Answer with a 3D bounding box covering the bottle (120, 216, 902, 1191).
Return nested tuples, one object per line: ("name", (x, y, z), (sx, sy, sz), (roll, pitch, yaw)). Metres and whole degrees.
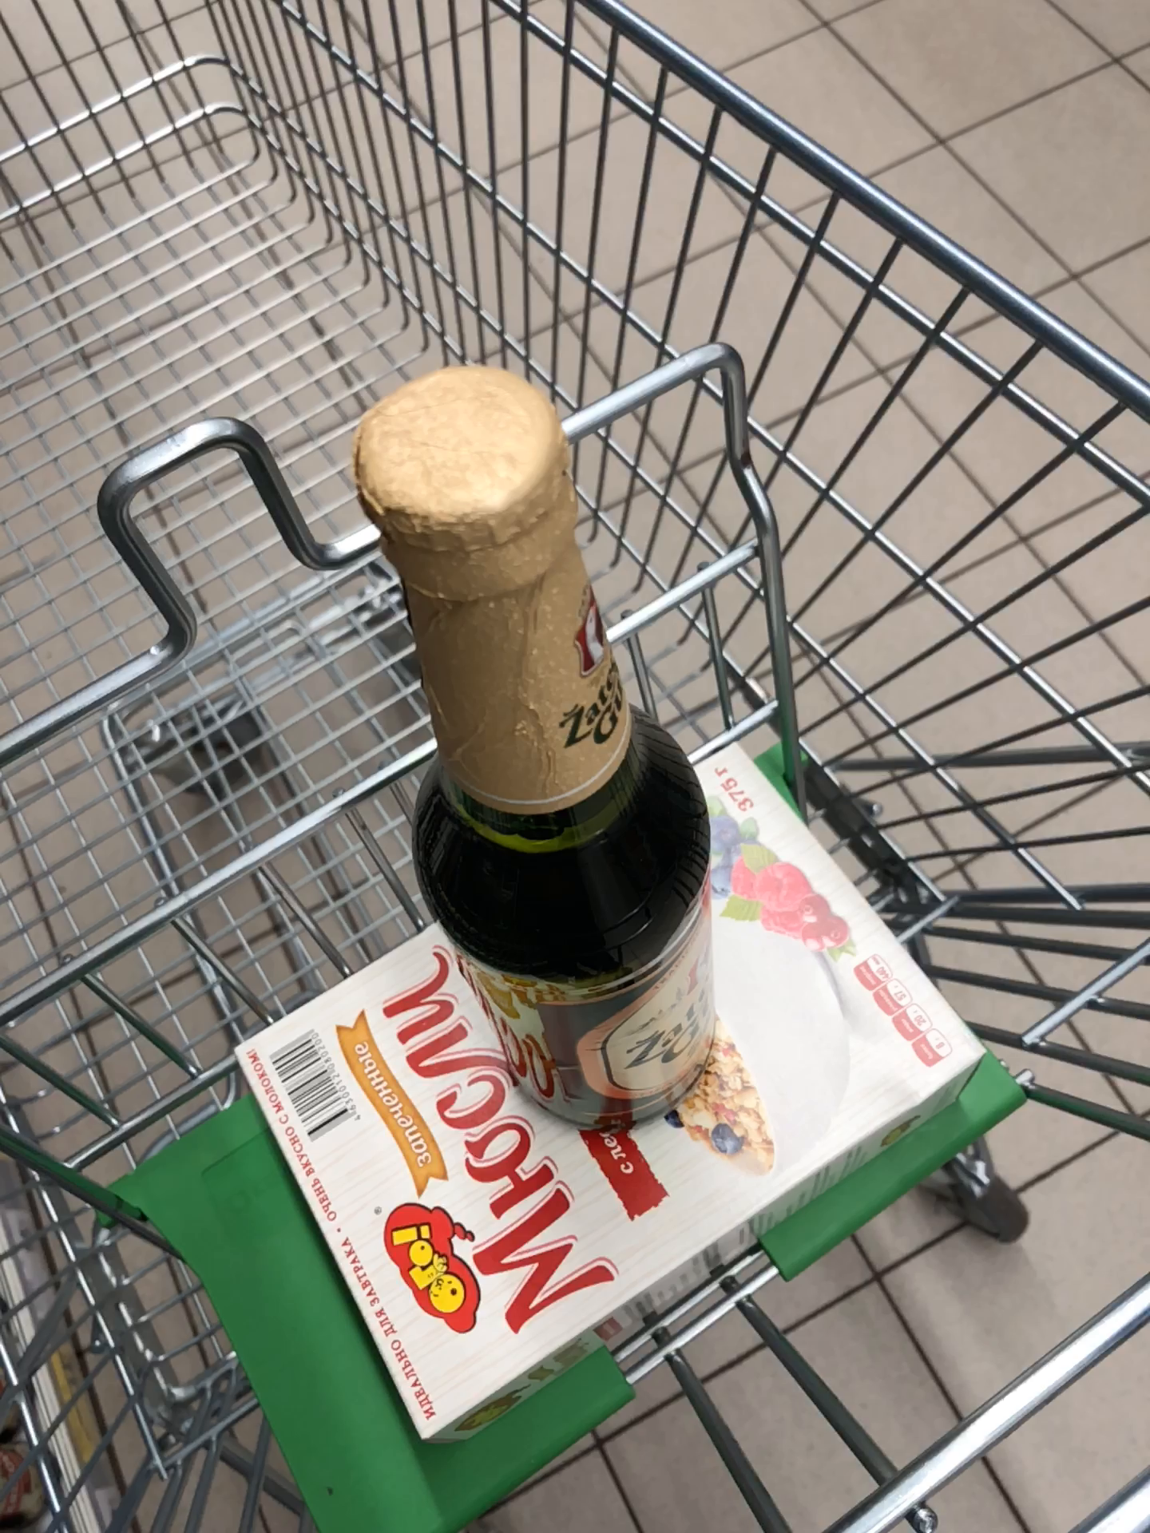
("bottle", (0.003, 0.024, 0.284), (0.070, 0.269, 0.080), (24, 69, 15))
